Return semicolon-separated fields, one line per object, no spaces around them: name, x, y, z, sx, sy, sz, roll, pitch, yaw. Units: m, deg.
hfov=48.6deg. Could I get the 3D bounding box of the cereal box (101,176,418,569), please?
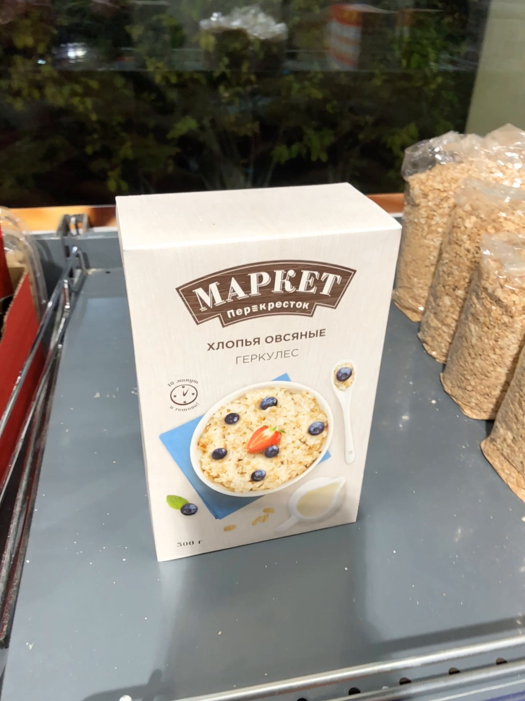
cereal box;-0.007;0.014;0.314;0.130;0.189;0.070;-7;33;-13
